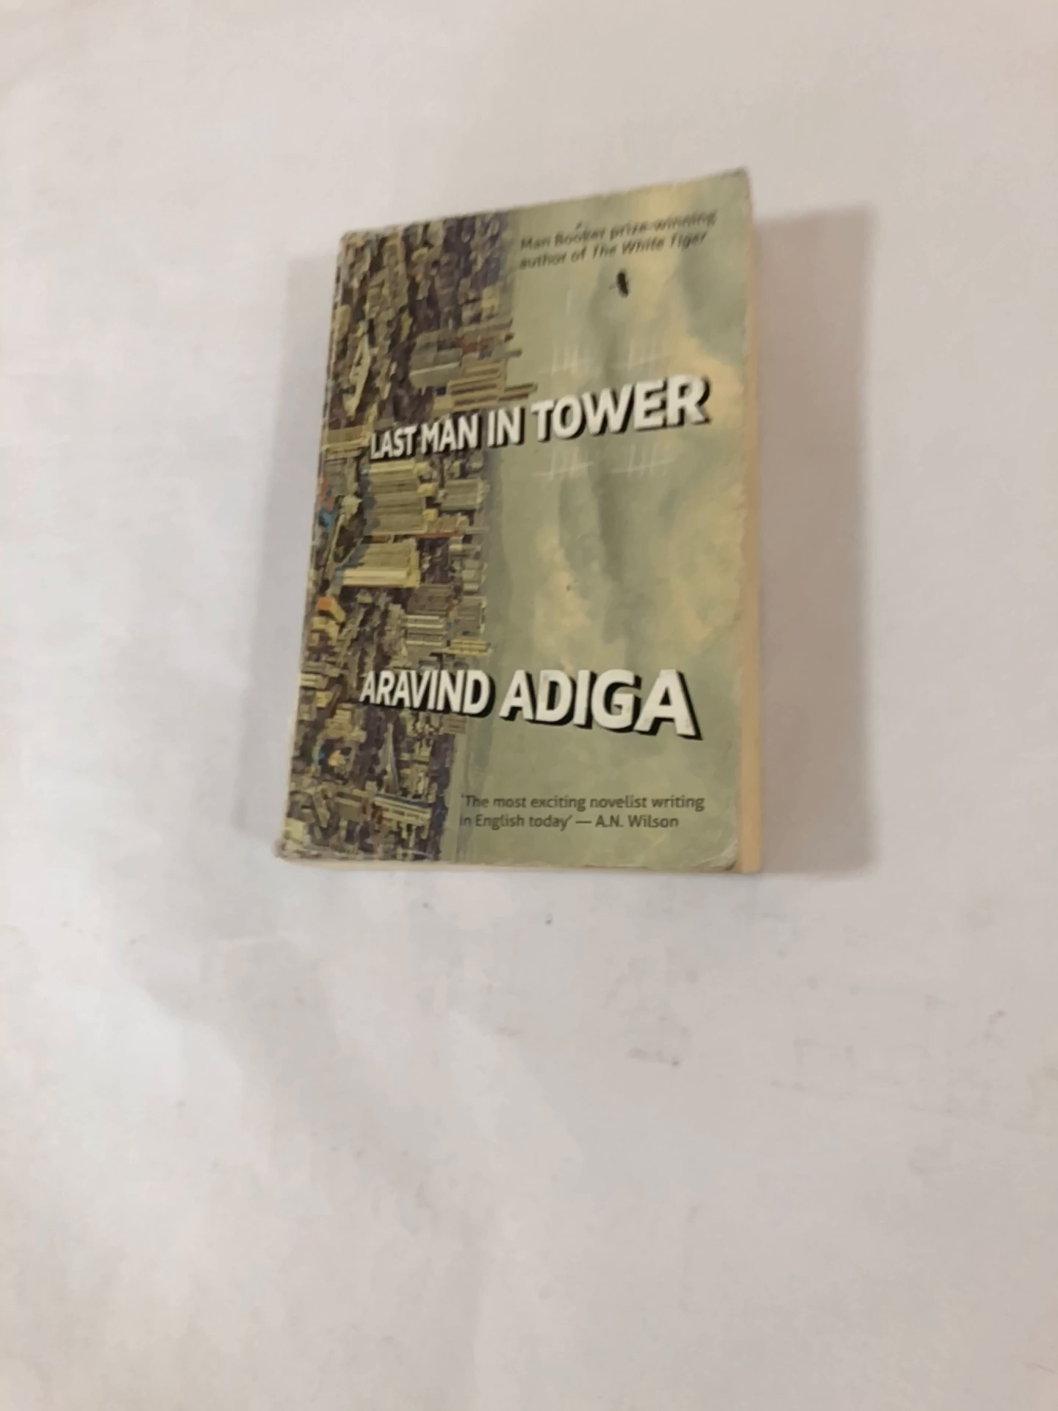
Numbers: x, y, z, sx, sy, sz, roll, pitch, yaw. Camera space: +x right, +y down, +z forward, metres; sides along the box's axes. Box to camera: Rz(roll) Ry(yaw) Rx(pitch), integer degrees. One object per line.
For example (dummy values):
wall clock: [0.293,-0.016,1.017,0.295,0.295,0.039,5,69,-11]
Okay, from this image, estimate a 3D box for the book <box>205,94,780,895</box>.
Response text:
book: [-0.007,-0.058,0.341,0.150,0.030,0.220,-2,75,17]
